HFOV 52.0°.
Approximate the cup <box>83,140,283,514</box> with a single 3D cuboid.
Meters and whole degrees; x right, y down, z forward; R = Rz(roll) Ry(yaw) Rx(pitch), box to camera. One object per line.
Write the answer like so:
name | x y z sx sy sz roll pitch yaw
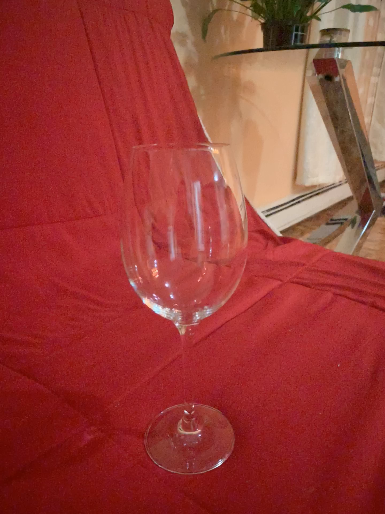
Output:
cup | -0.006 0.048 0.290 0.083 0.246 0.094 18 27 37
